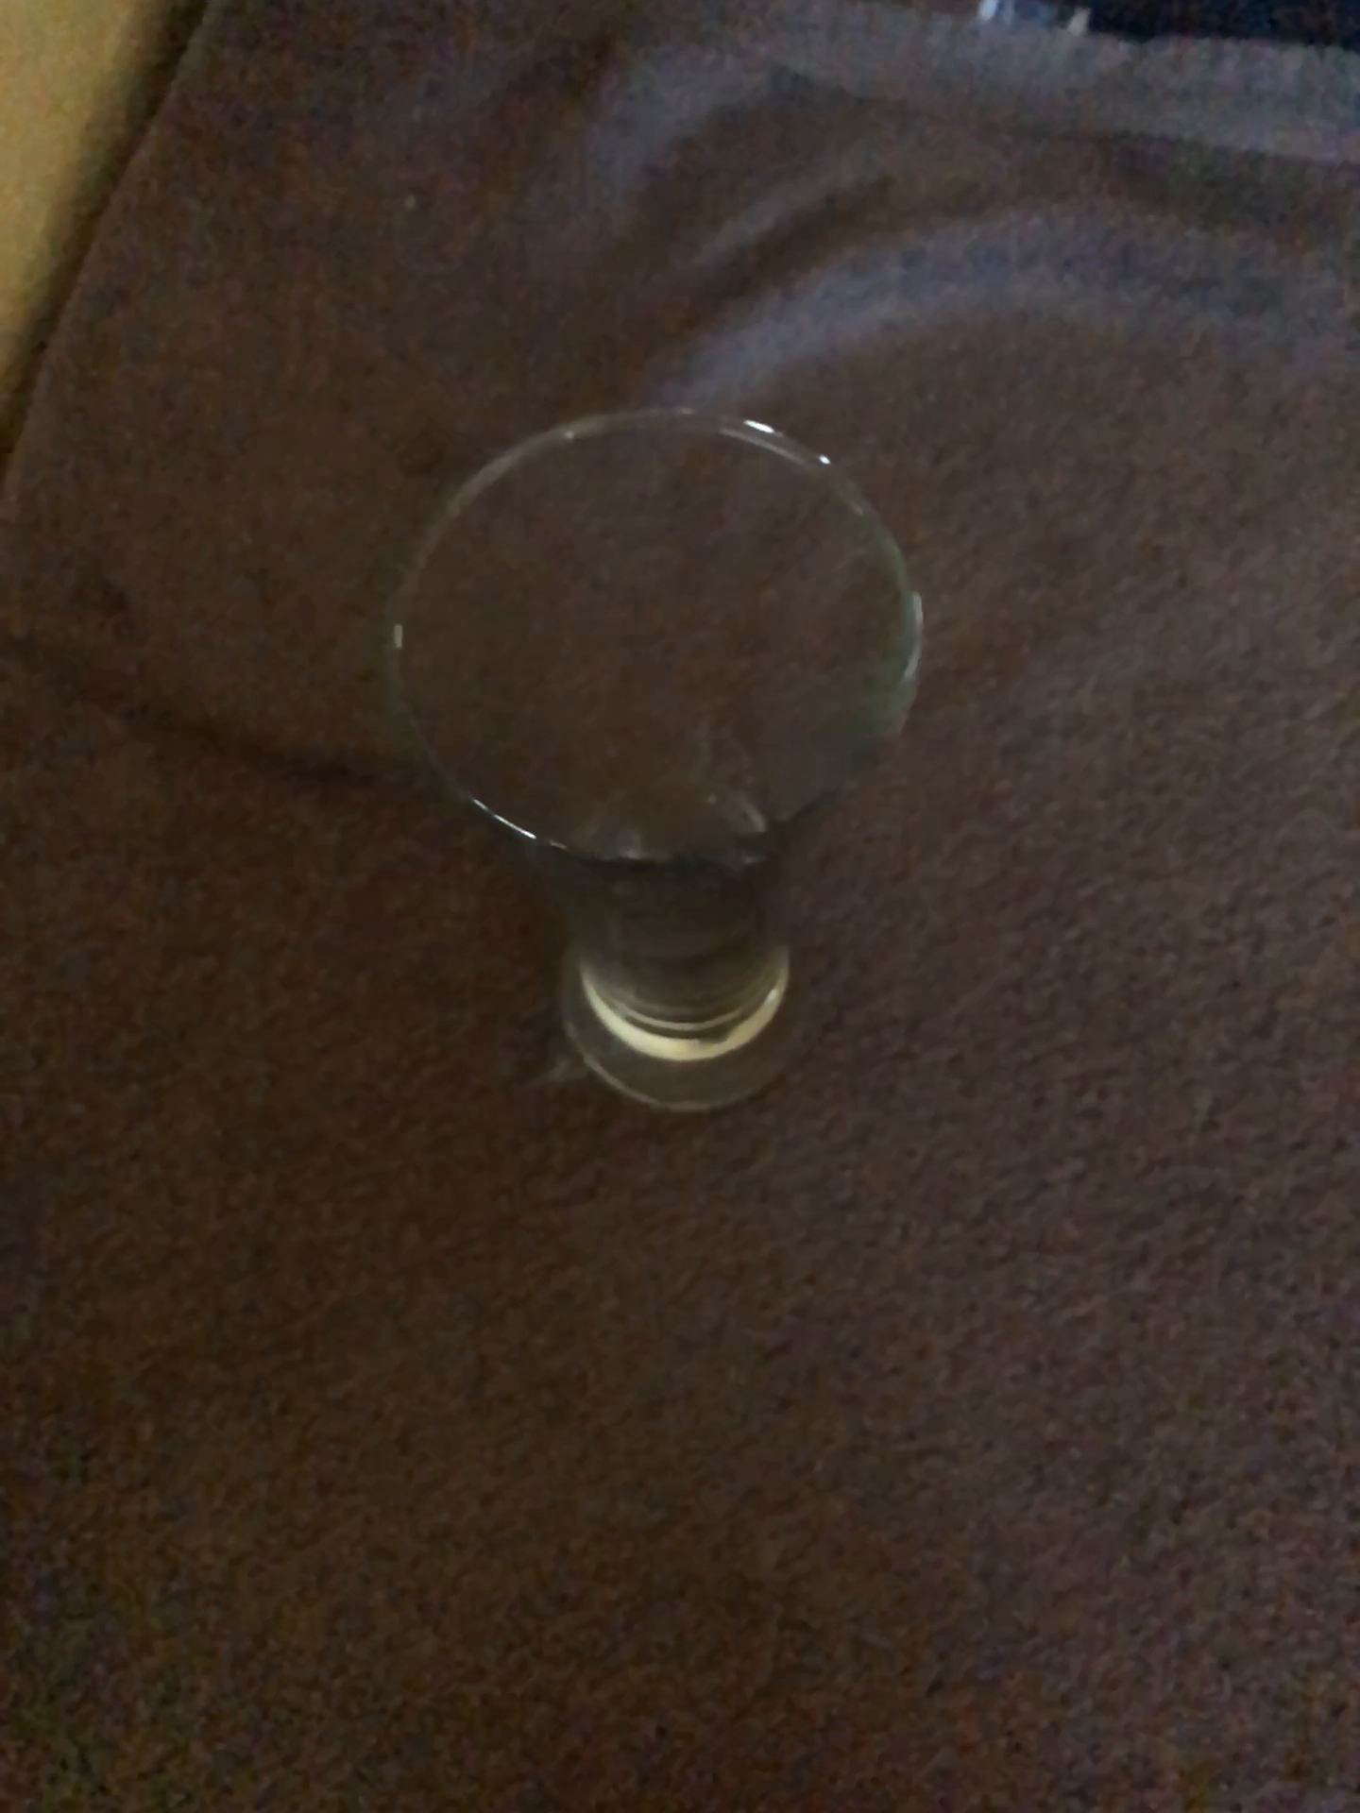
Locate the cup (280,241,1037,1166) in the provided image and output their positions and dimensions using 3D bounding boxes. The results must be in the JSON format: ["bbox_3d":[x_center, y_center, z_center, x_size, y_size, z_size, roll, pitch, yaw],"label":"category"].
[{"bbox_3d":[-0.004,-0.019,0.261,0.080,0.150,0.080,-1,68,1],"label":"cup"}]
